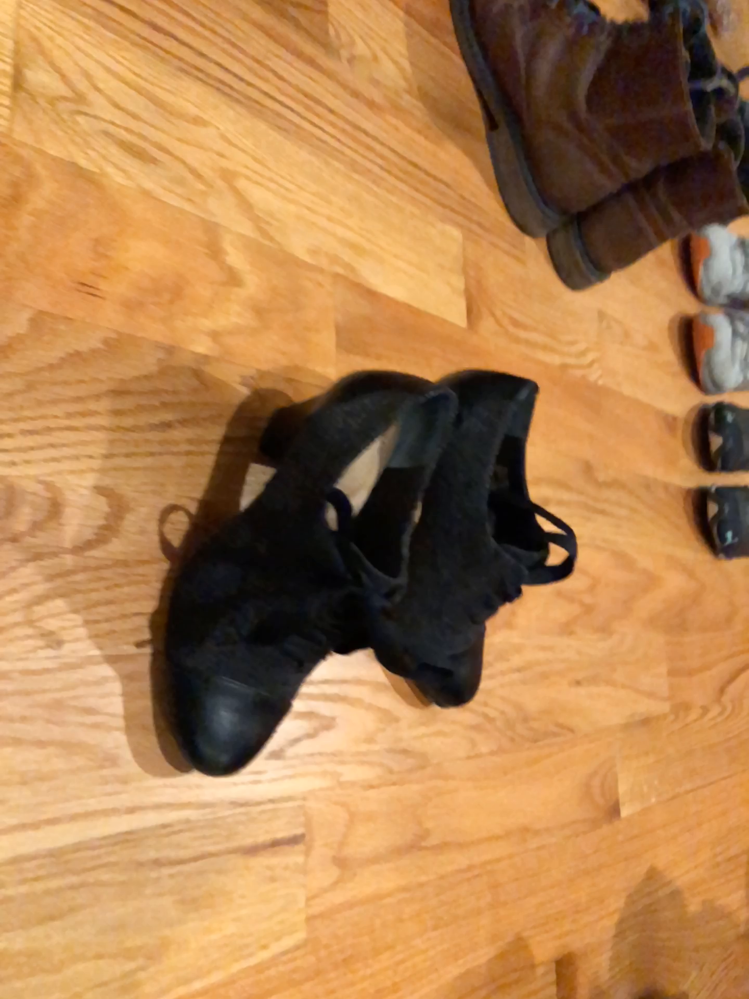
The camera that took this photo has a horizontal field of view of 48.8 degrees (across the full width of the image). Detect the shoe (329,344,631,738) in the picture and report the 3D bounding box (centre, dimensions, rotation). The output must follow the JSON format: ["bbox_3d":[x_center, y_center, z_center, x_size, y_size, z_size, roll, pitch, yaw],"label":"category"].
[{"bbox_3d":[0.067,0.026,0.533,0.088,0.125,0.223,-14,93,-48],"label":"shoe"}]

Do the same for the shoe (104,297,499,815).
[{"bbox_3d":[-0.030,0.030,0.425,0.093,0.125,0.223,34,59,-39],"label":"shoe"}]
